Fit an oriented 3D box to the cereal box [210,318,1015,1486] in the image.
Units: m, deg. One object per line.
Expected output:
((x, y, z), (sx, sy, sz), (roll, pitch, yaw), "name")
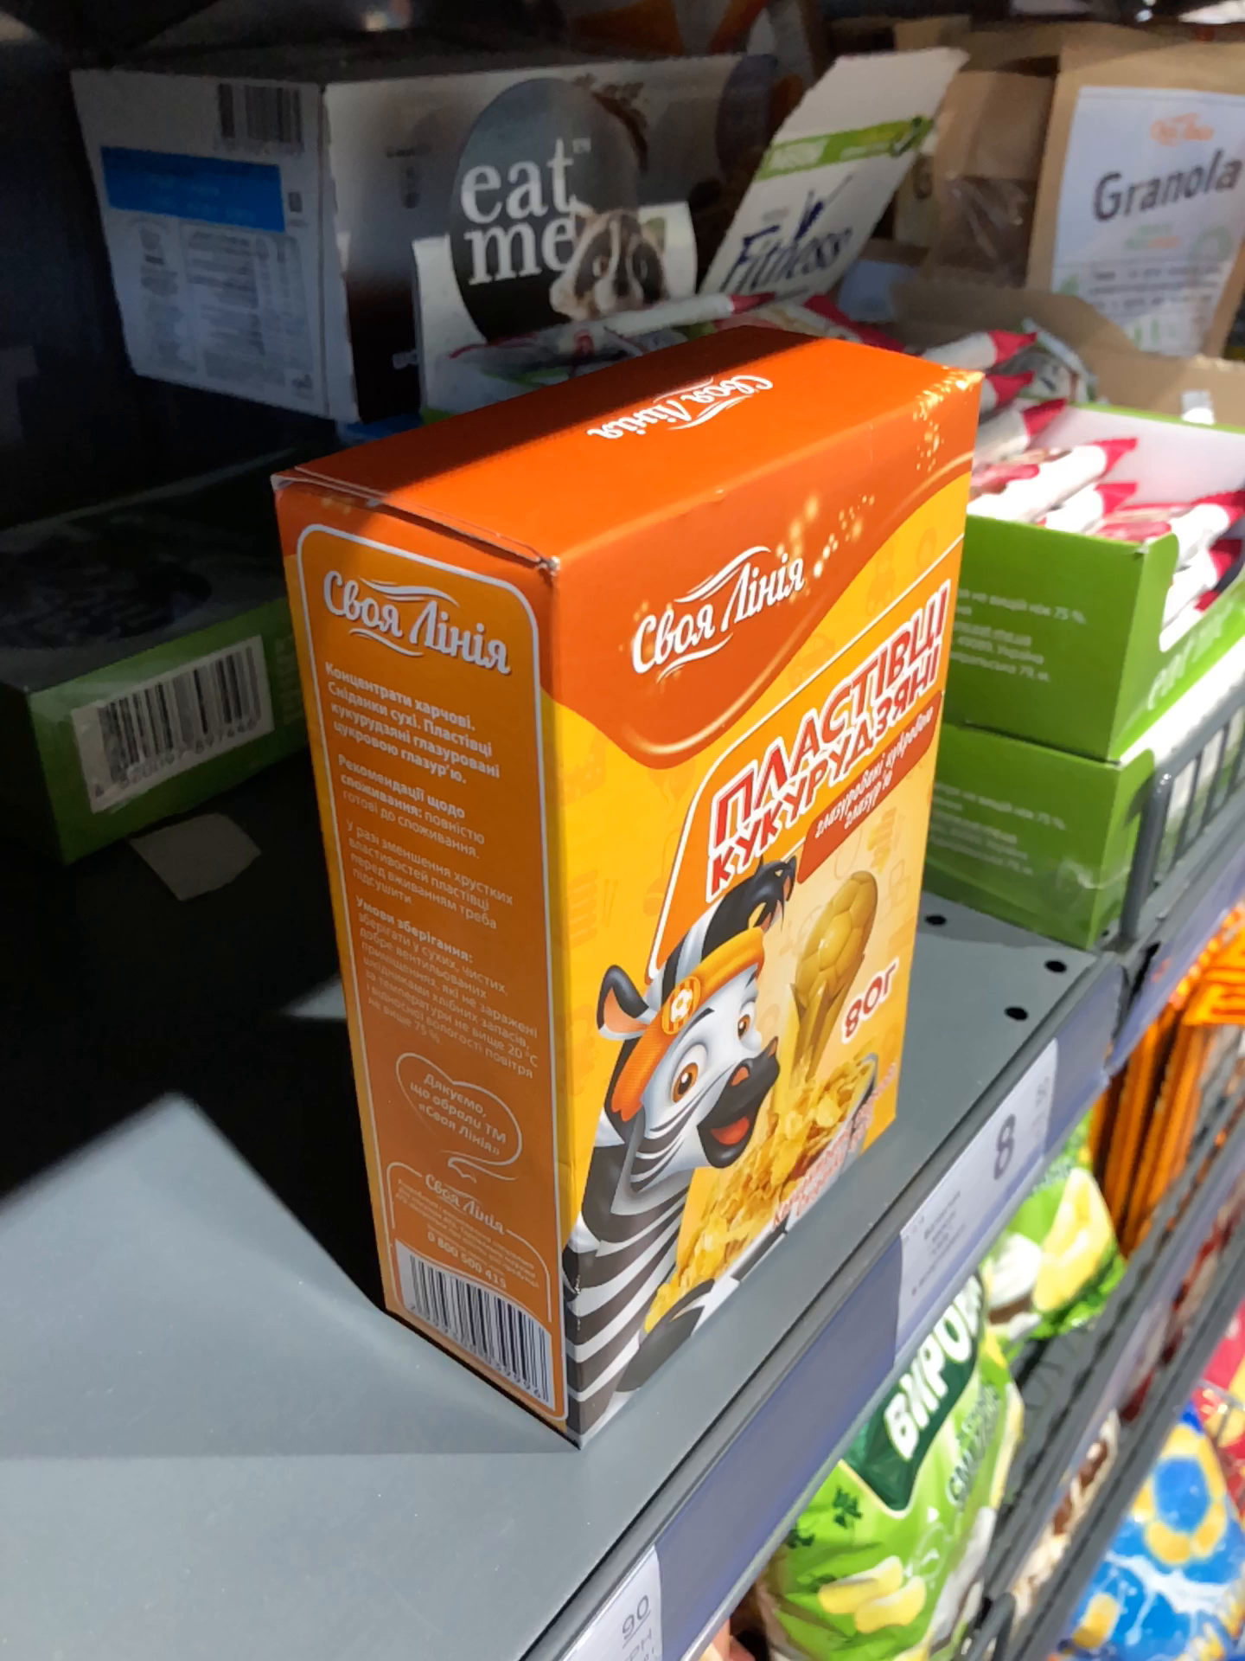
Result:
((0.006, 0.007, 0.241), (0.050, 0.159, 0.121), (24, 39, 33), "cereal box")
